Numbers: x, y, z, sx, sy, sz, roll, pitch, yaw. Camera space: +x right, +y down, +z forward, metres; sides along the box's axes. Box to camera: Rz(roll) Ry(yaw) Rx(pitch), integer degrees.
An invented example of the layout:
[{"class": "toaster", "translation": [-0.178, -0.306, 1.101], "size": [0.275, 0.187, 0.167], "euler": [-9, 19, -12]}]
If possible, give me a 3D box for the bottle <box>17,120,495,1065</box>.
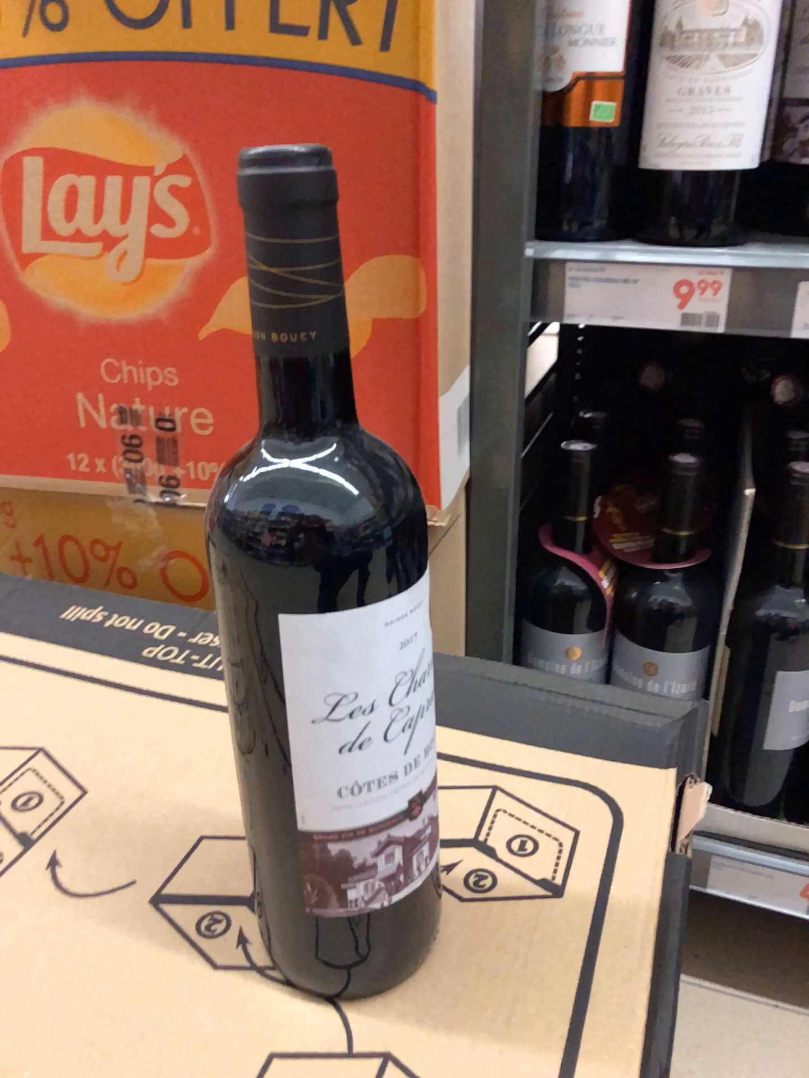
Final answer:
[{"class": "bottle", "translation": [-0.035, 0.020, 0.298], "size": [0.090, 0.288, 0.091], "euler": [0, 24, 0]}]
